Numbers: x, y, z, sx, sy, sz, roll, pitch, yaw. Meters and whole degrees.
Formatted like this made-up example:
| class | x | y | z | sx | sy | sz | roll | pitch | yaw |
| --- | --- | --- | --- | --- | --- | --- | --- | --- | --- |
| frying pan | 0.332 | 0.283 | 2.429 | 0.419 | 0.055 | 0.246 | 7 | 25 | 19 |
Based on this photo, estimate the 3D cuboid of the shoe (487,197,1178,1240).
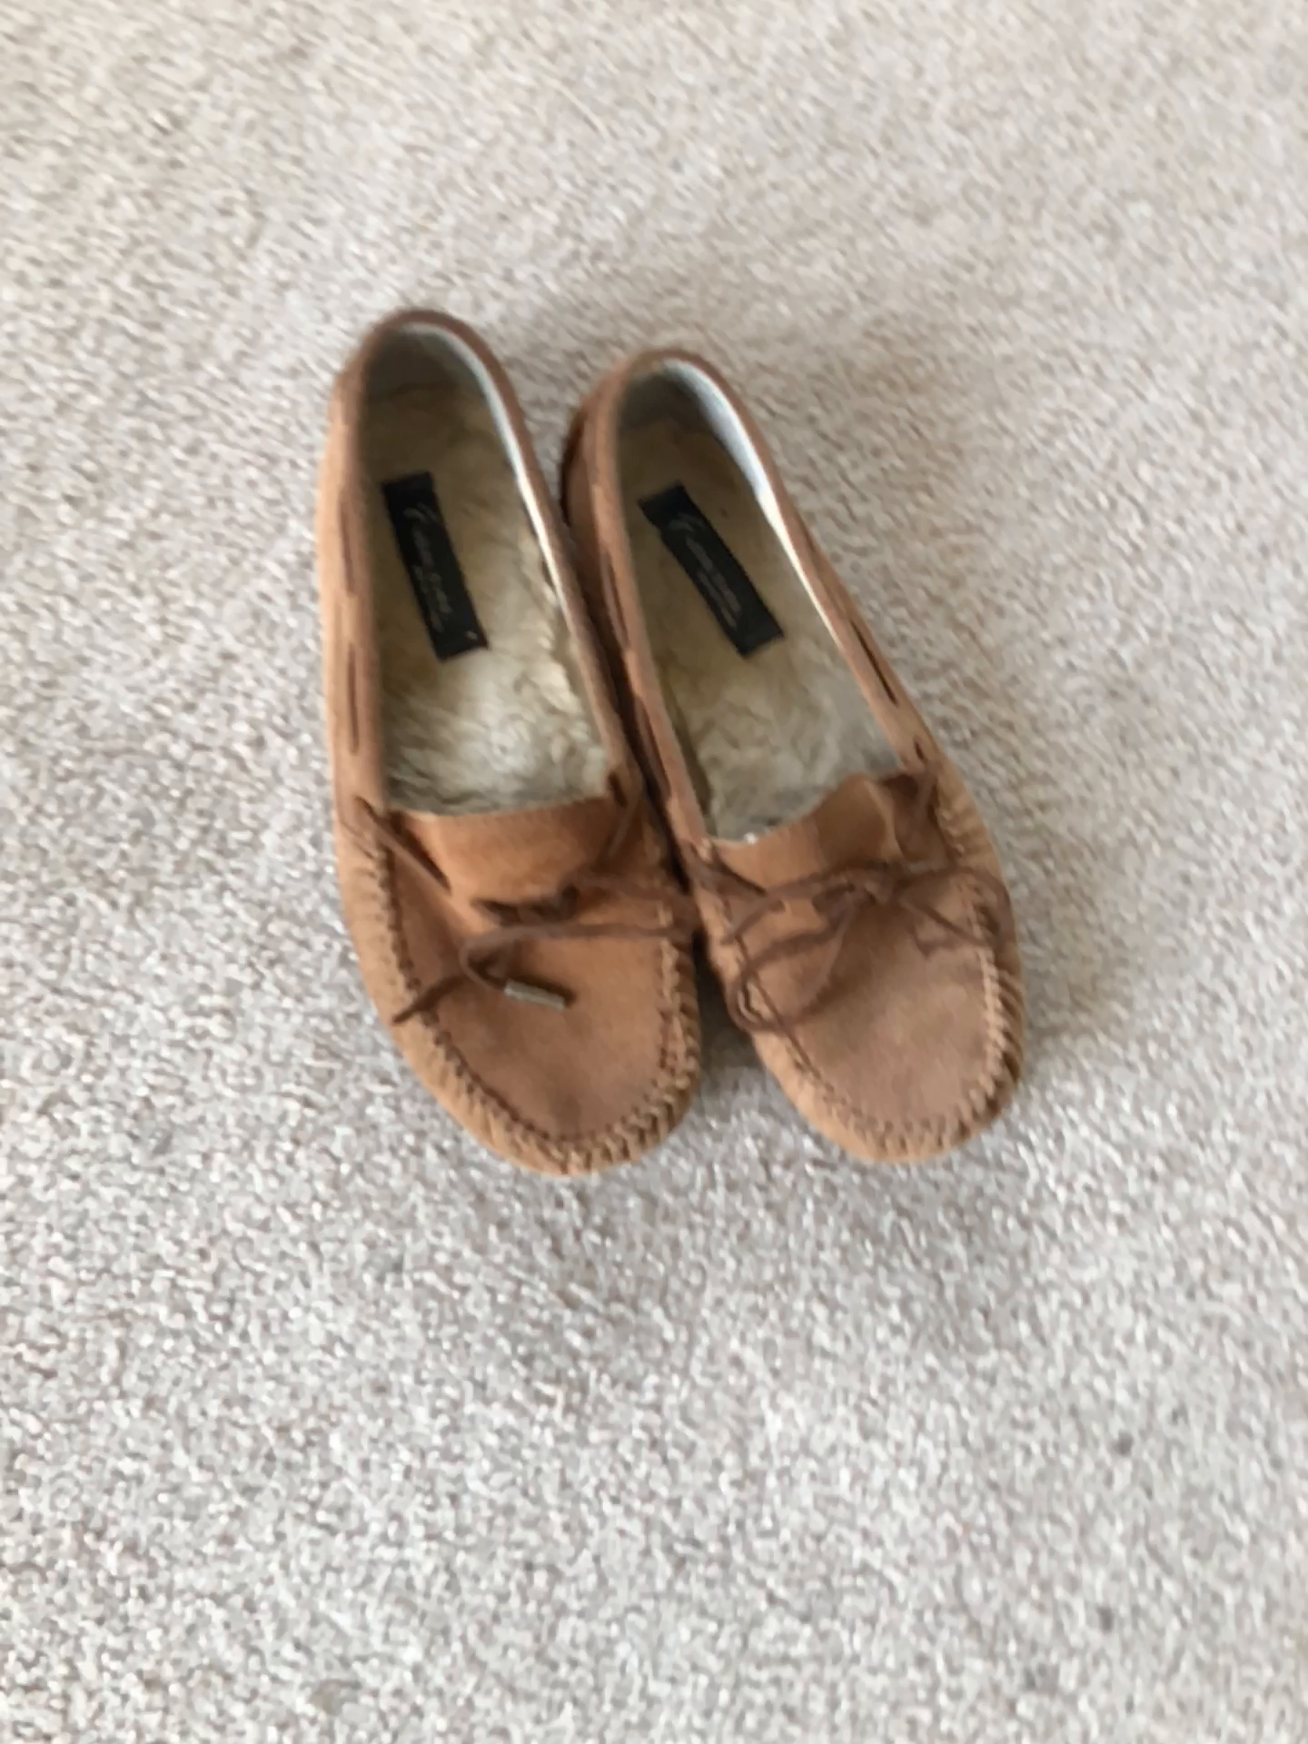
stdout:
| class | x | y | z | sx | sy | sz | roll | pitch | yaw |
| --- | --- | --- | --- | --- | --- | --- | --- | --- | --- |
| shoe | 0.043 | -0.045 | 0.418 | 0.098 | 0.068 | 0.274 | -19 | 83 | -10 |

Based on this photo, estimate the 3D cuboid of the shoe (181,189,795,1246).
| class | x | y | z | sx | sy | sz | roll | pitch | yaw |
| --- | --- | --- | --- | --- | --- | --- | --- | --- | --- |
| shoe | -0.050 | -0.045 | 0.406 | 0.105 | 0.068 | 0.270 | -12 | 82 | -9 |
